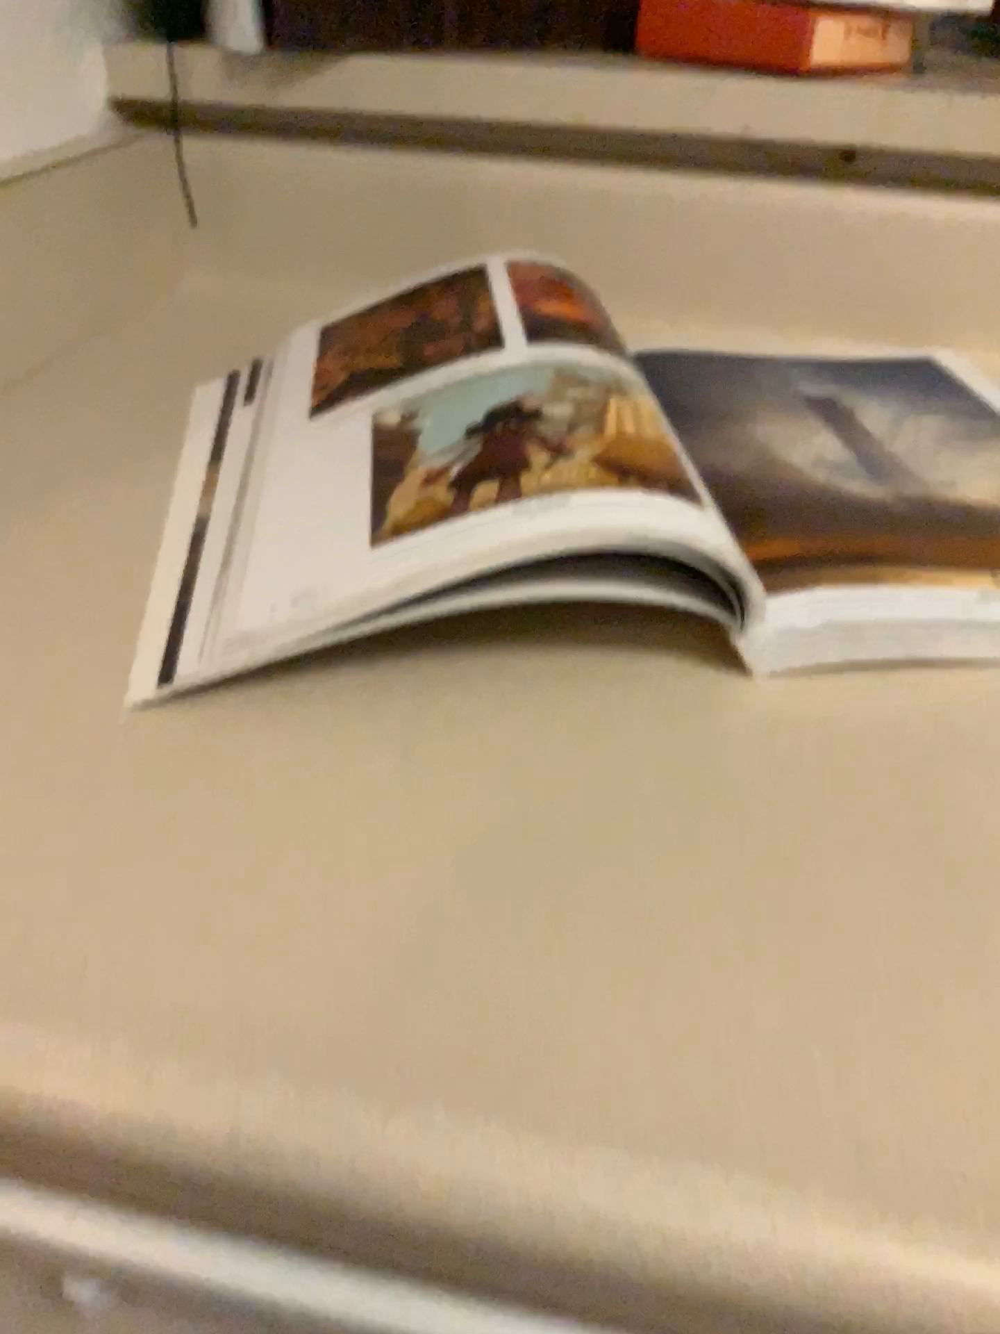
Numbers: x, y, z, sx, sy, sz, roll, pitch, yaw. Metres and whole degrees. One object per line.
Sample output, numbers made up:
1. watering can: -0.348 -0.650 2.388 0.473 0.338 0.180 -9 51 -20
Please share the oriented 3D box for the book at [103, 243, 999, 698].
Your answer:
1. book: 0.082 -0.117 0.517 0.450 0.070 0.320 -2 34 -7
